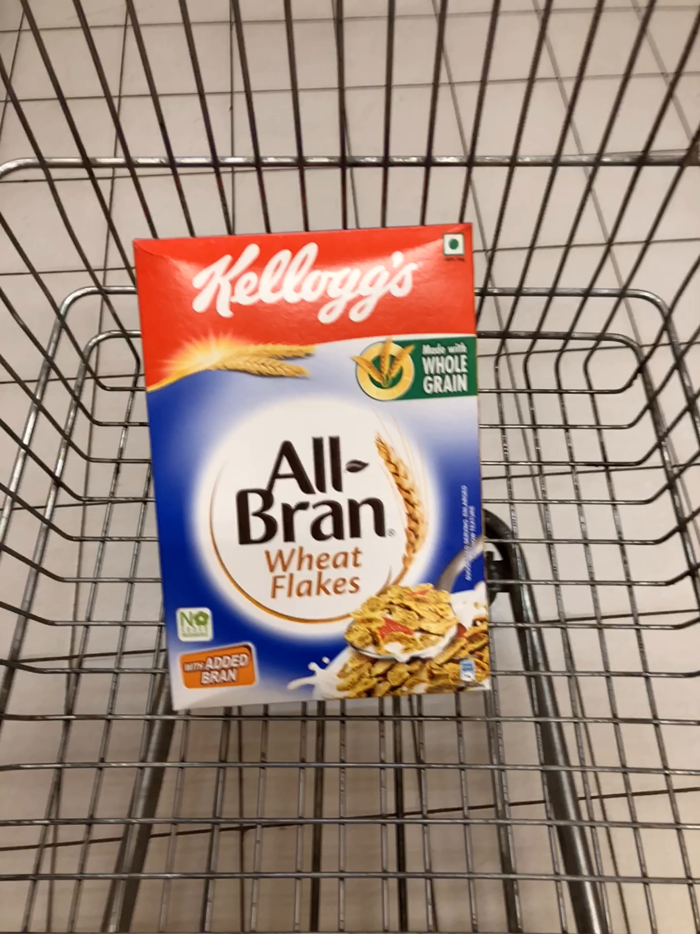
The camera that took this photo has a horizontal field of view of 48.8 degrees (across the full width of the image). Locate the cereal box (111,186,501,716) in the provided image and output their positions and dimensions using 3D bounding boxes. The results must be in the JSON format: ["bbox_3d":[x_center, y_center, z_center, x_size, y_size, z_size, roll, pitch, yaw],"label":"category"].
[{"bbox_3d":[-0.018,-0.009,0.442,0.190,0.080,0.270,-3,99,-2],"label":"cereal box"}]
